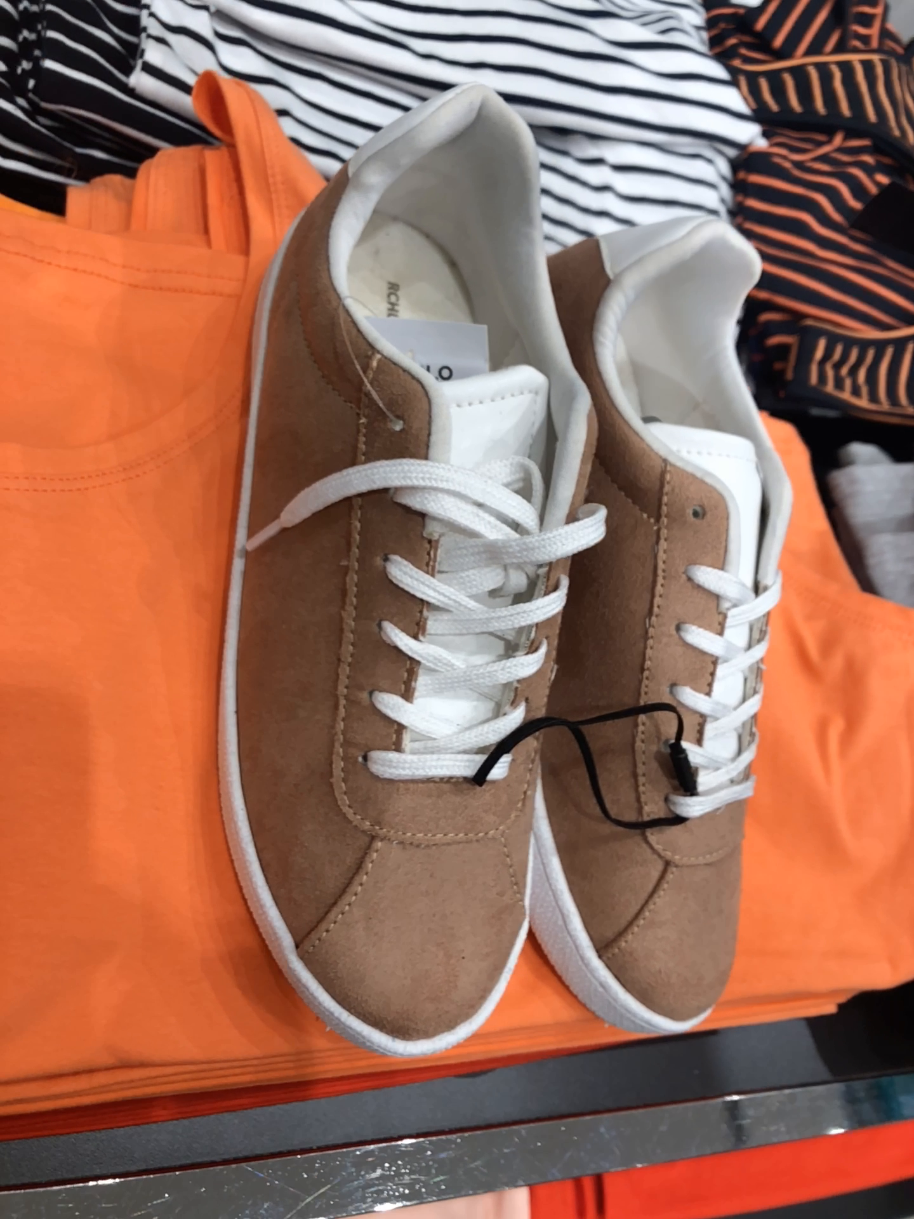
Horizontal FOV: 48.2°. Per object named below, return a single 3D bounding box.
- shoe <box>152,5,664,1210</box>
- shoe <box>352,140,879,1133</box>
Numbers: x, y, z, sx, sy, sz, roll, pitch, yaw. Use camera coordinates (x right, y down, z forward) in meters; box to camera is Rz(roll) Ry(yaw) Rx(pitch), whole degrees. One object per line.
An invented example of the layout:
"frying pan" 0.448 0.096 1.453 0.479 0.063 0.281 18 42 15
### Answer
"shoe" -0.024 -0.003 0.274 0.090 0.099 0.250 3 78 -30
"shoe" 0.040 0.006 0.320 0.090 0.099 0.250 -1 80 -31
